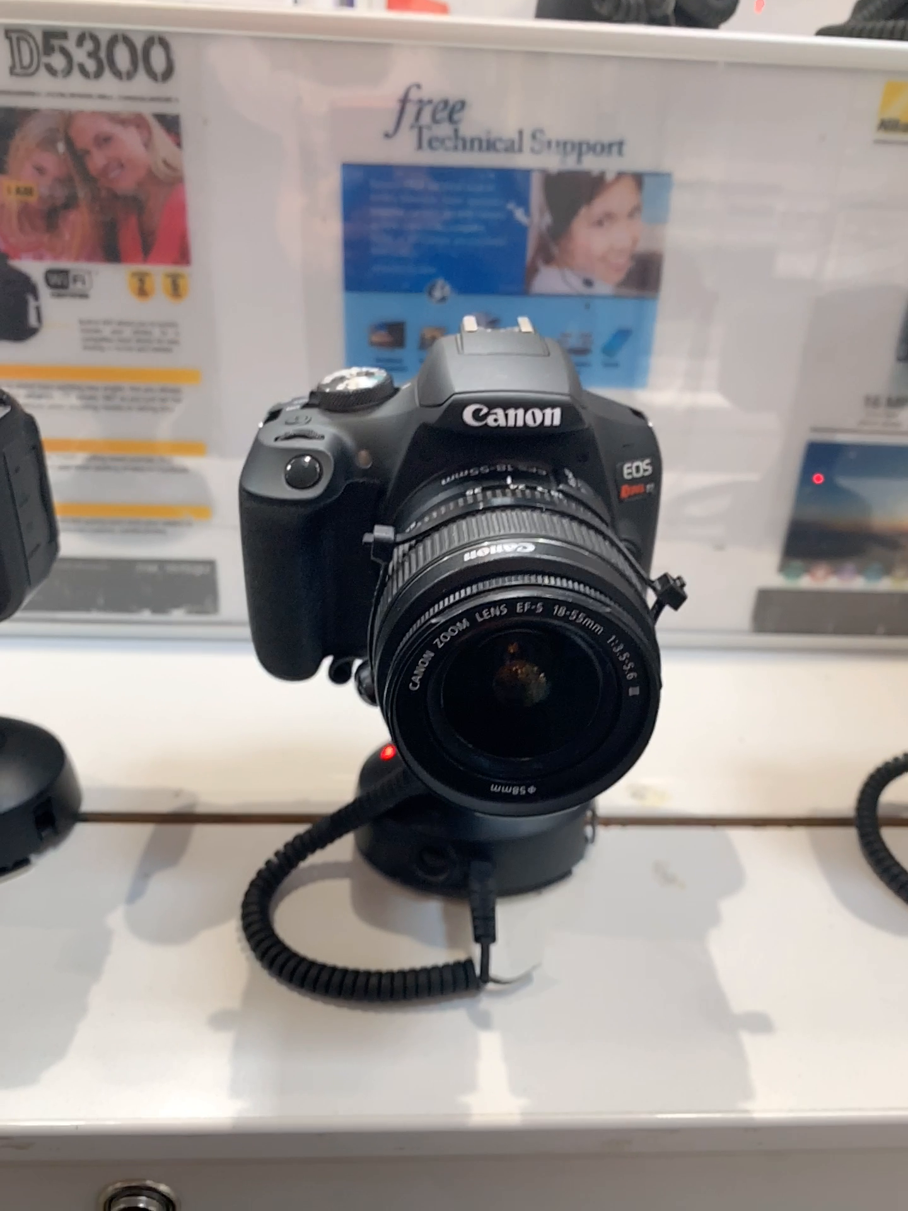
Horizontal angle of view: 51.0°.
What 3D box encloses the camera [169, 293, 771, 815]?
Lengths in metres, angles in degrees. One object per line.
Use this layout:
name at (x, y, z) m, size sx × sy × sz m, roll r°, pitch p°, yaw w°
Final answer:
camera at (-0.002, -0.021, 0.263) m, size 0.122 × 0.104 × 0.110 m, roll 0°, pitch 27°, yaw -6°
